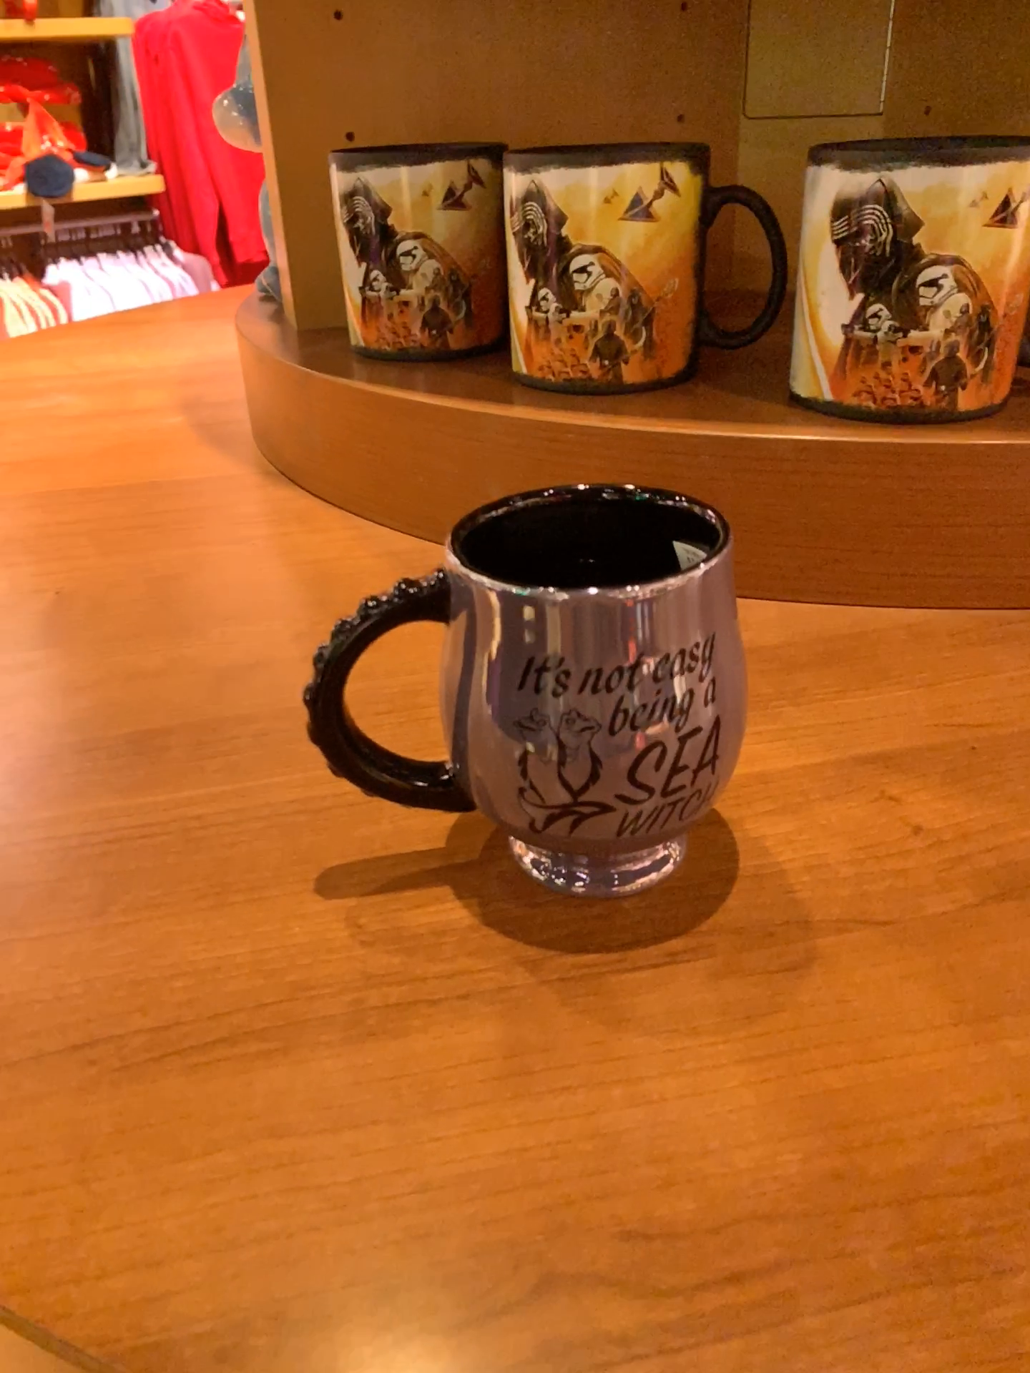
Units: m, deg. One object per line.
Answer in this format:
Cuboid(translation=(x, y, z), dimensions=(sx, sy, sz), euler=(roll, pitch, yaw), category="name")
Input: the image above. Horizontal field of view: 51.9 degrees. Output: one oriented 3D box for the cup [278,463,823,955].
Cuboid(translation=(0.004, 0.000, 0.297), dimensions=(0.125, 0.089, 0.087), euler=(-8, 30, -10), category="cup")
